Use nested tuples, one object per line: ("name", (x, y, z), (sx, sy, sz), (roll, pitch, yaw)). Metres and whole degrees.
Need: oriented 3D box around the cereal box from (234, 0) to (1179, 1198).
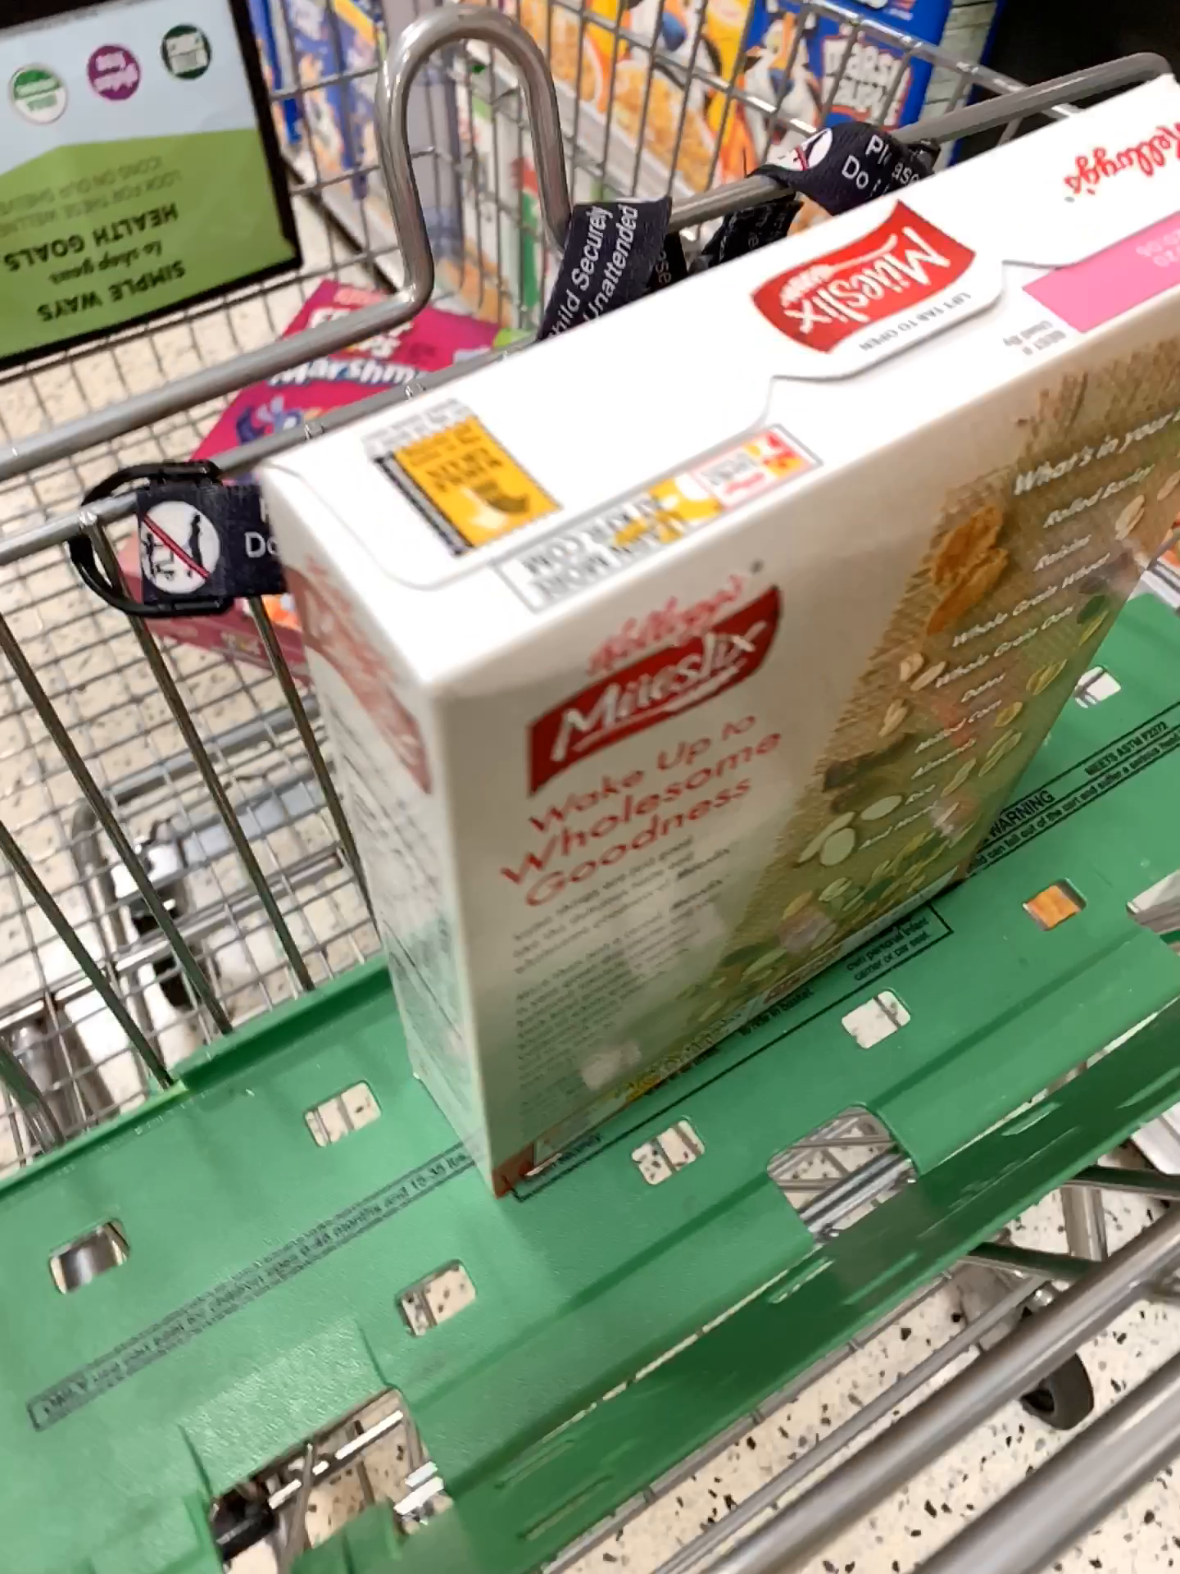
("cereal box", (0.044, -0.013, 0.277), (0.191, 0.248, 0.050), (-29, 63, -19))
